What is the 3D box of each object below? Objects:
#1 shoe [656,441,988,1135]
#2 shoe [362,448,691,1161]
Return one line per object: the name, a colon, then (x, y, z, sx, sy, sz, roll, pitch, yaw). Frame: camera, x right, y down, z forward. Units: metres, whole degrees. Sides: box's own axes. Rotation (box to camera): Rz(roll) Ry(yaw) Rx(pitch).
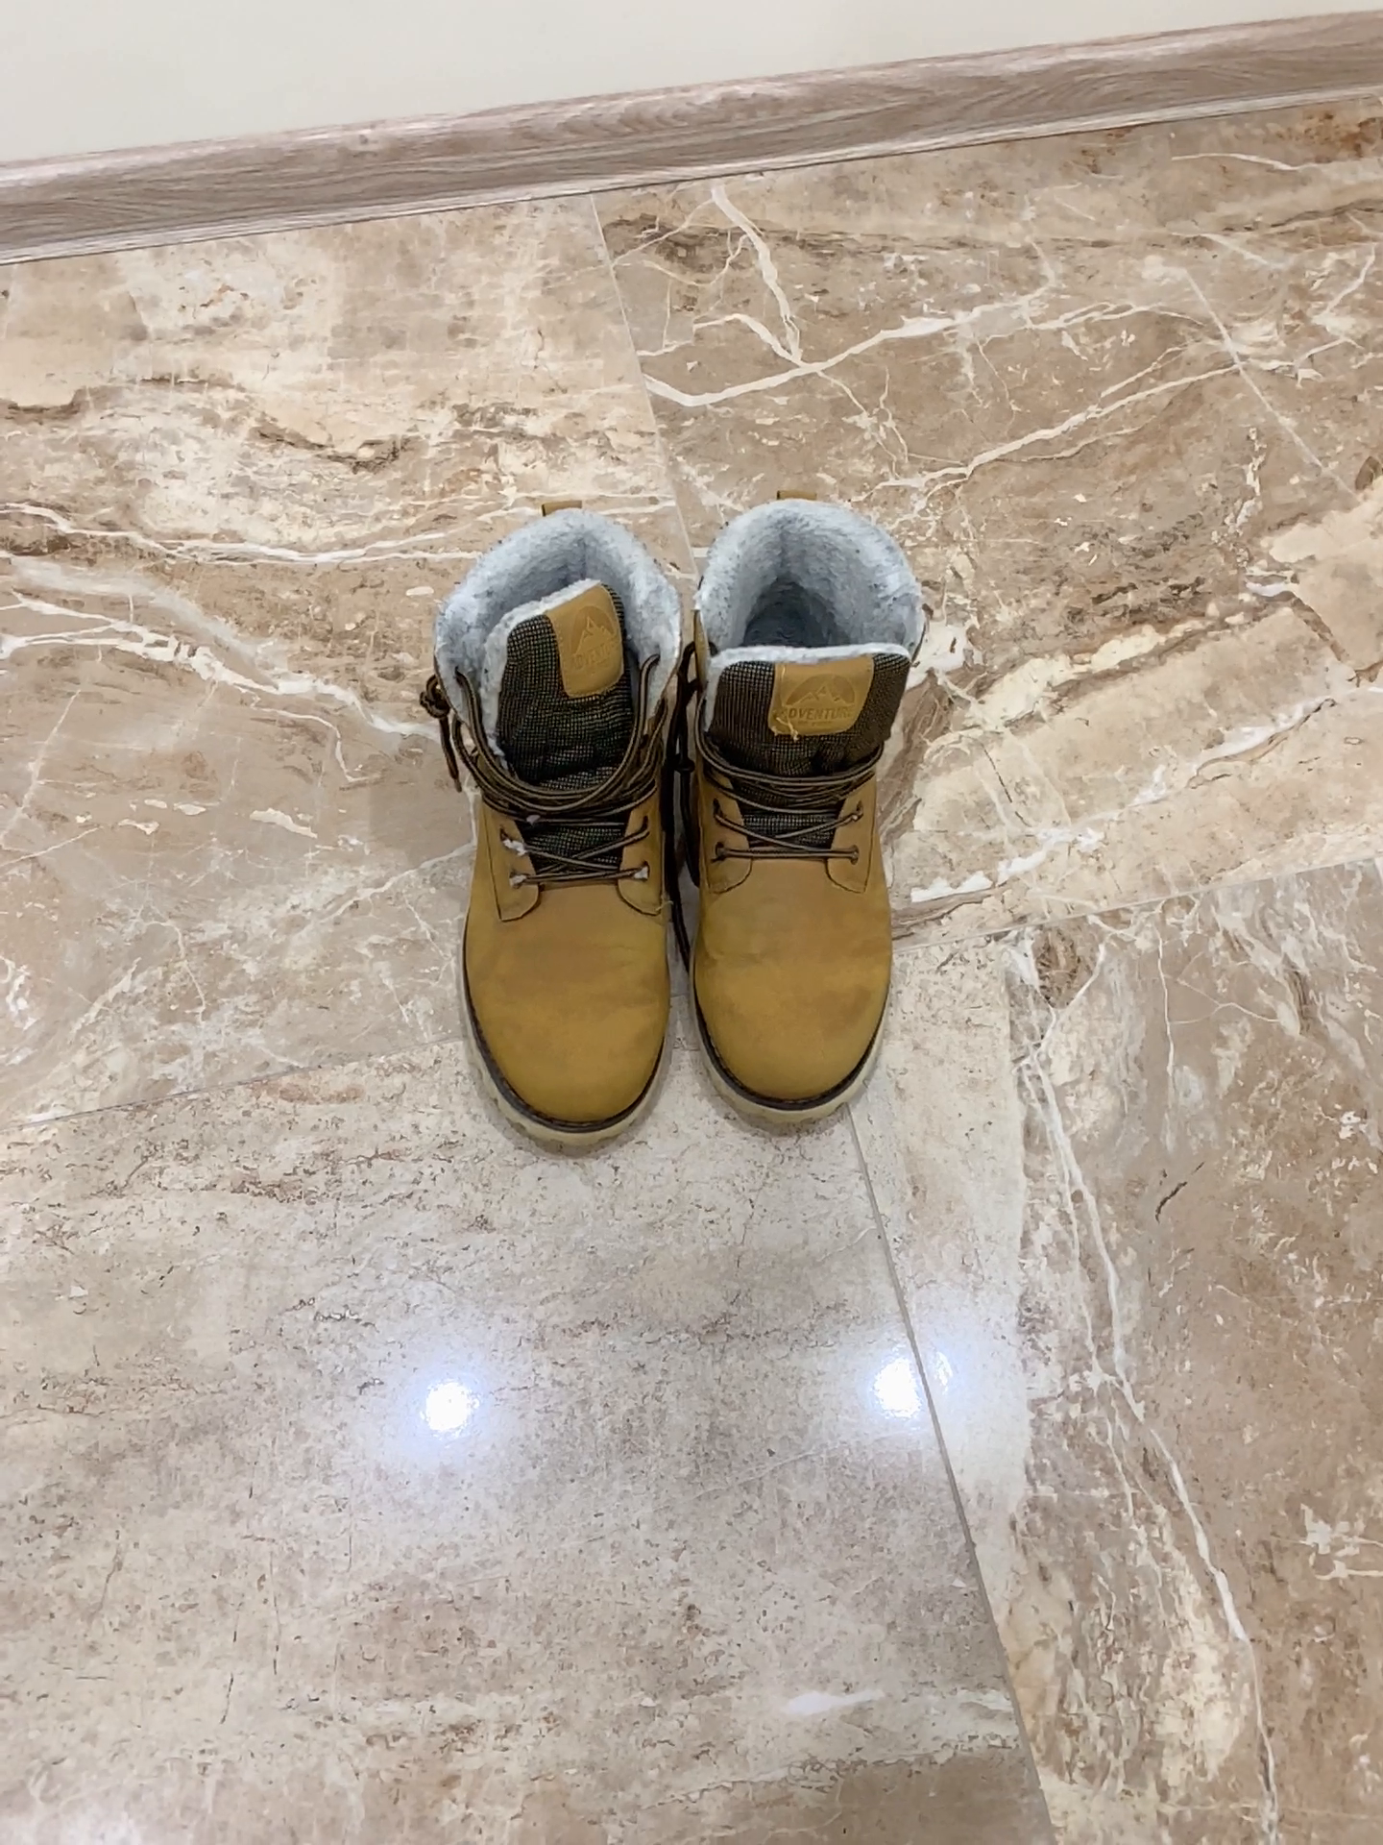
shoe: (0.047, -0.059, 0.646, 0.120, 0.140, 0.281, 1, 66, -3)
shoe: (-0.065, -0.049, 0.647, 0.120, 0.160, 0.281, 1, 66, -3)
